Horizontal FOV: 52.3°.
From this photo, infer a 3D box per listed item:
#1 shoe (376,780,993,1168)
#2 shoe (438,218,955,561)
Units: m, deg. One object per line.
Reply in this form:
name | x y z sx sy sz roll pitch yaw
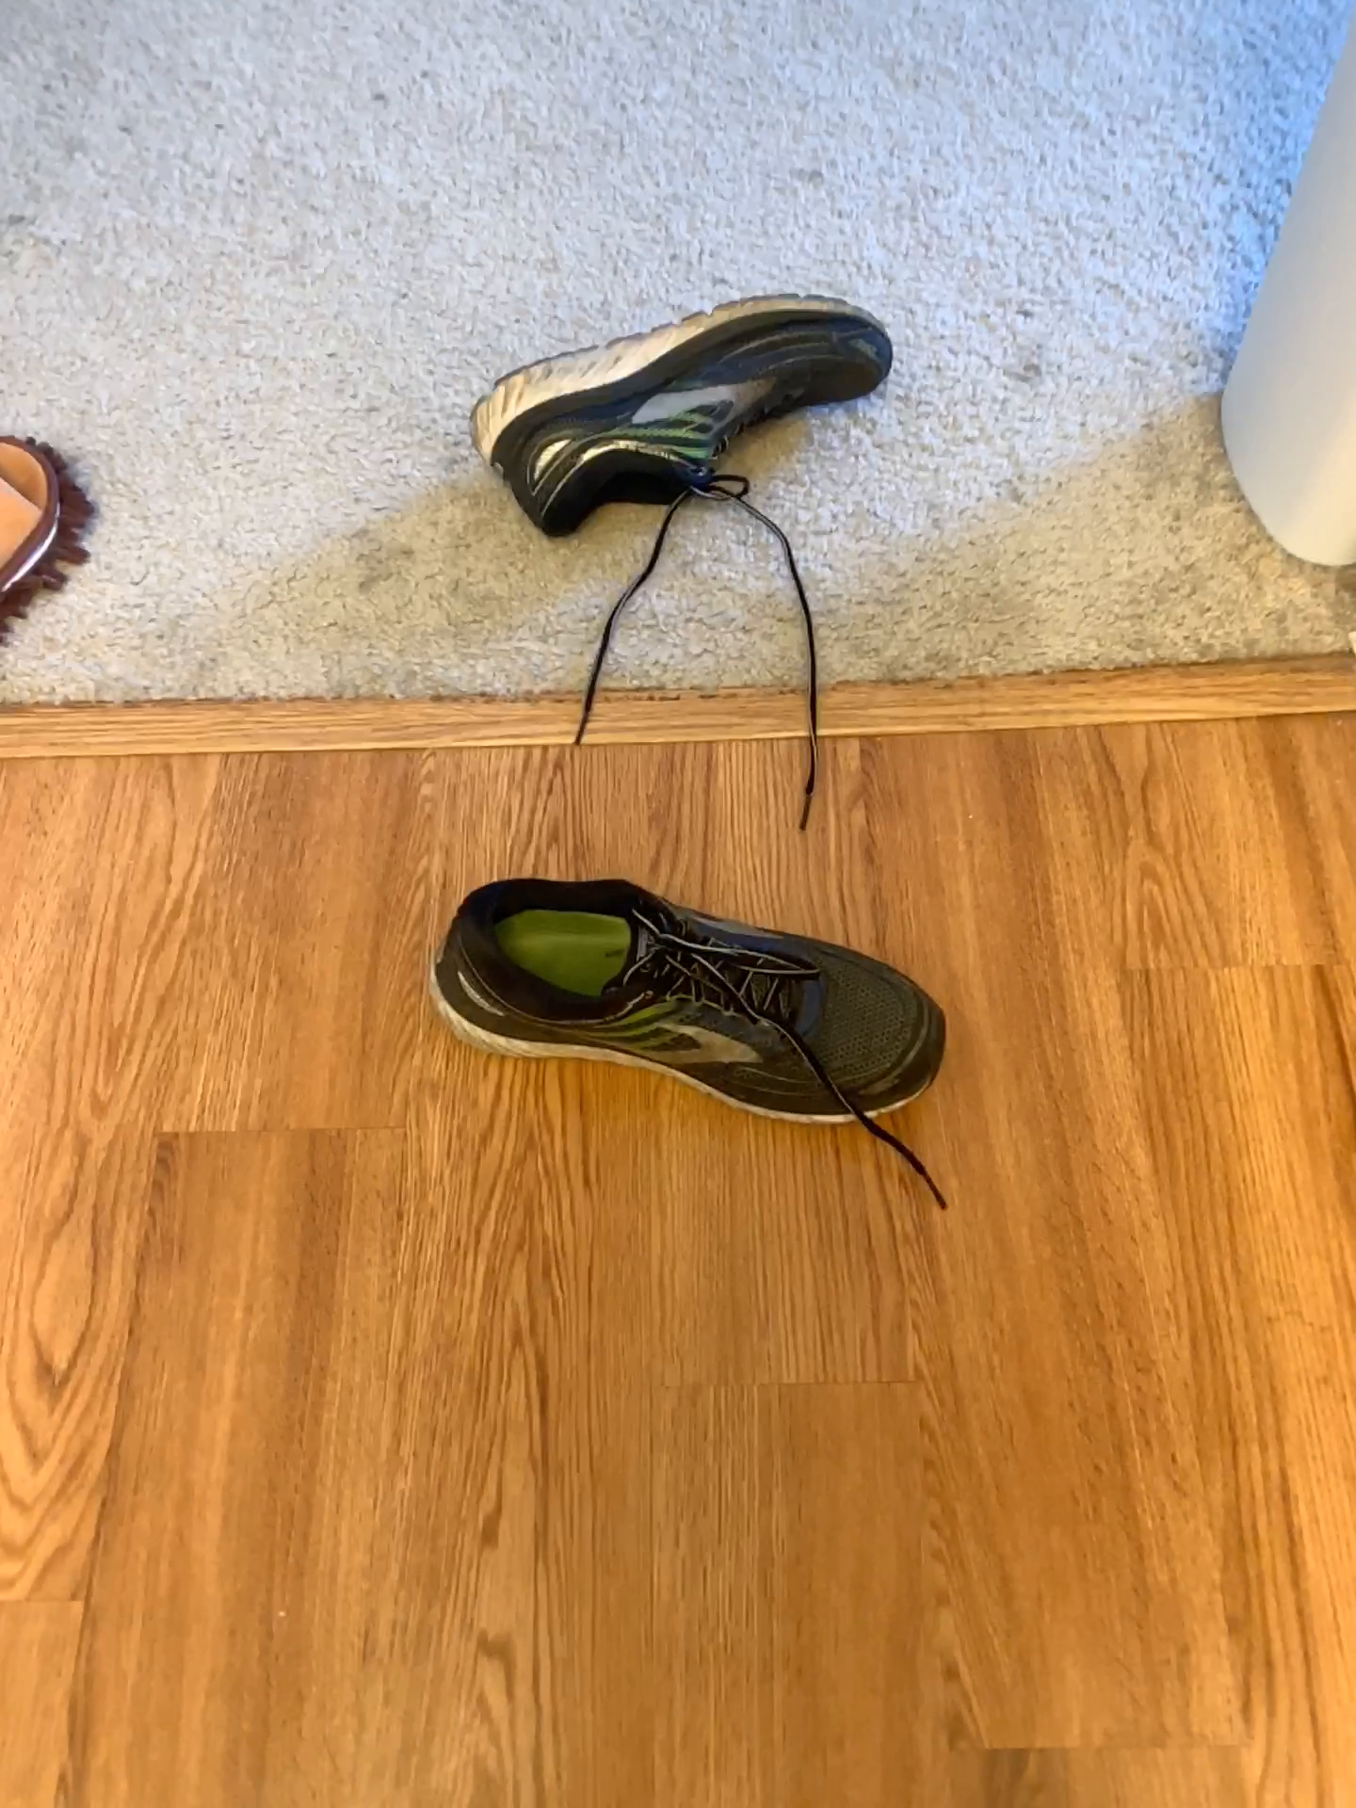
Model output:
shoe | 0.006 0.042 0.792 0.311 0.122 0.120 12 64 7
shoe | 0.010 -0.345 0.935 0.310 0.110 0.120 -15 80 -6
